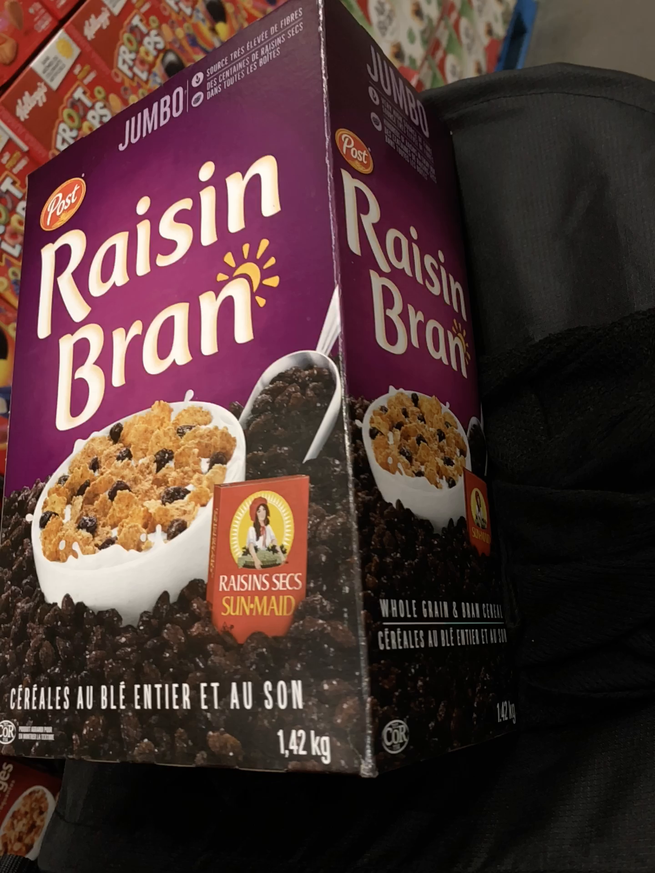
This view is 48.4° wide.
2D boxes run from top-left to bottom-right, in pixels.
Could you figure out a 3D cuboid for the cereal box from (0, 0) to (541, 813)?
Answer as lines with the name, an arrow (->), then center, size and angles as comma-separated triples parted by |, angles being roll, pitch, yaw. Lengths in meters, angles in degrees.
cereal box -> -0.046, -0.010, 0.330 | 0.211, 0.109, 0.290 | -15, 70, 34
